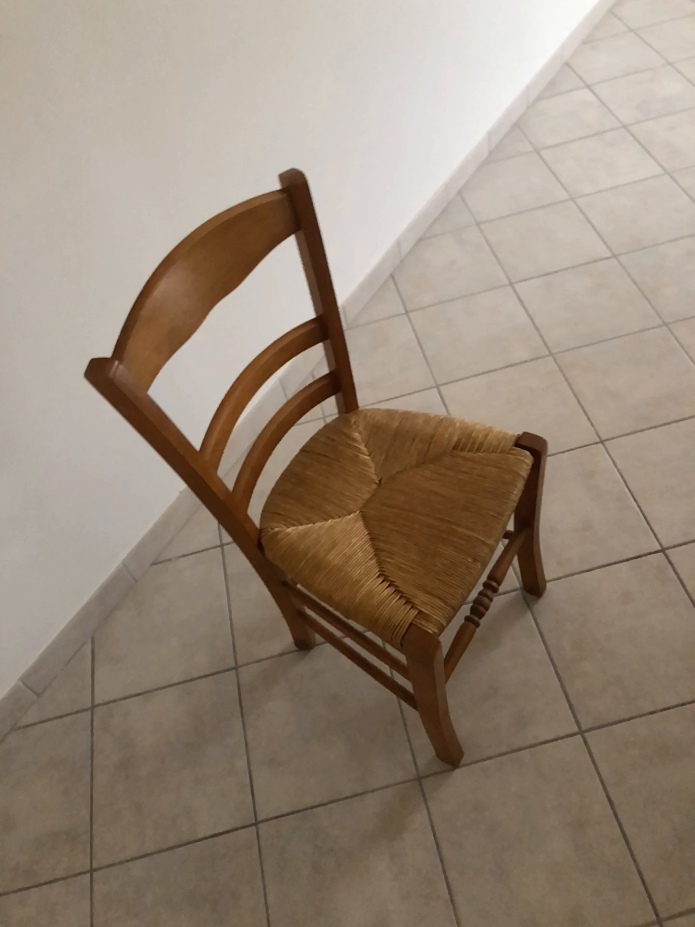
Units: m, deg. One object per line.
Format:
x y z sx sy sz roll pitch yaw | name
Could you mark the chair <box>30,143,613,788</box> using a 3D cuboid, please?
0.036 0.048 1.173 0.500 0.826 0.452 21 59 25 | chair
